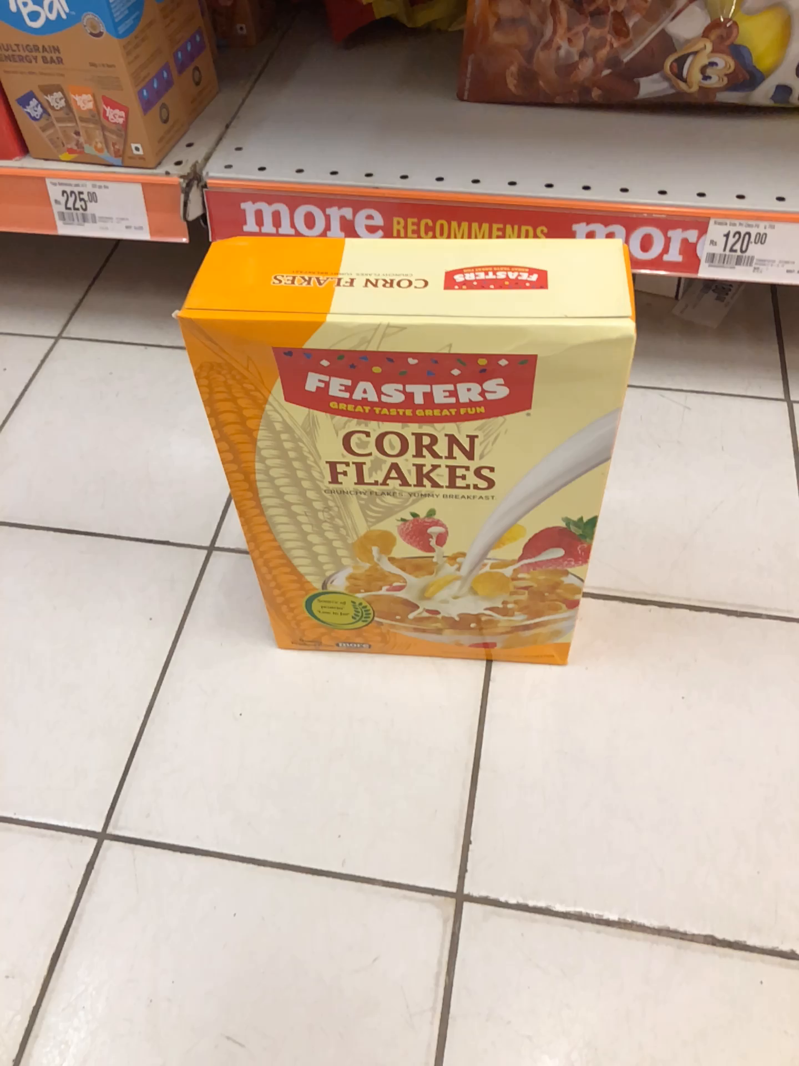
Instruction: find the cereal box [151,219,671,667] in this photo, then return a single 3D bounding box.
[{"bbox_3d":[0.011,-0.027,0.437,0.190,0.249,0.060,2,52,6],"label":"cereal box"}]
